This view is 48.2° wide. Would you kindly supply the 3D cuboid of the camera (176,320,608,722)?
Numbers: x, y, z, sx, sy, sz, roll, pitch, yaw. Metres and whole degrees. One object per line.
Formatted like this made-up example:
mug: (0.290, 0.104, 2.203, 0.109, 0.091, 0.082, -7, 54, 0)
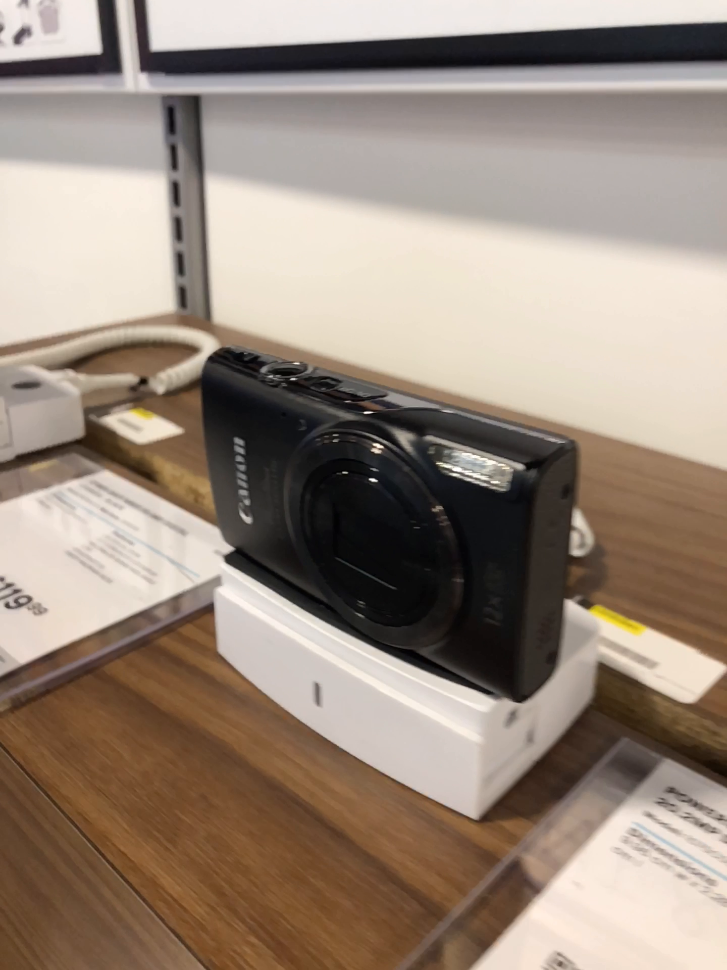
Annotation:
camera: (0.000, 0.001, 0.192, 0.100, 0.060, 0.030, 21, 30, 38)
